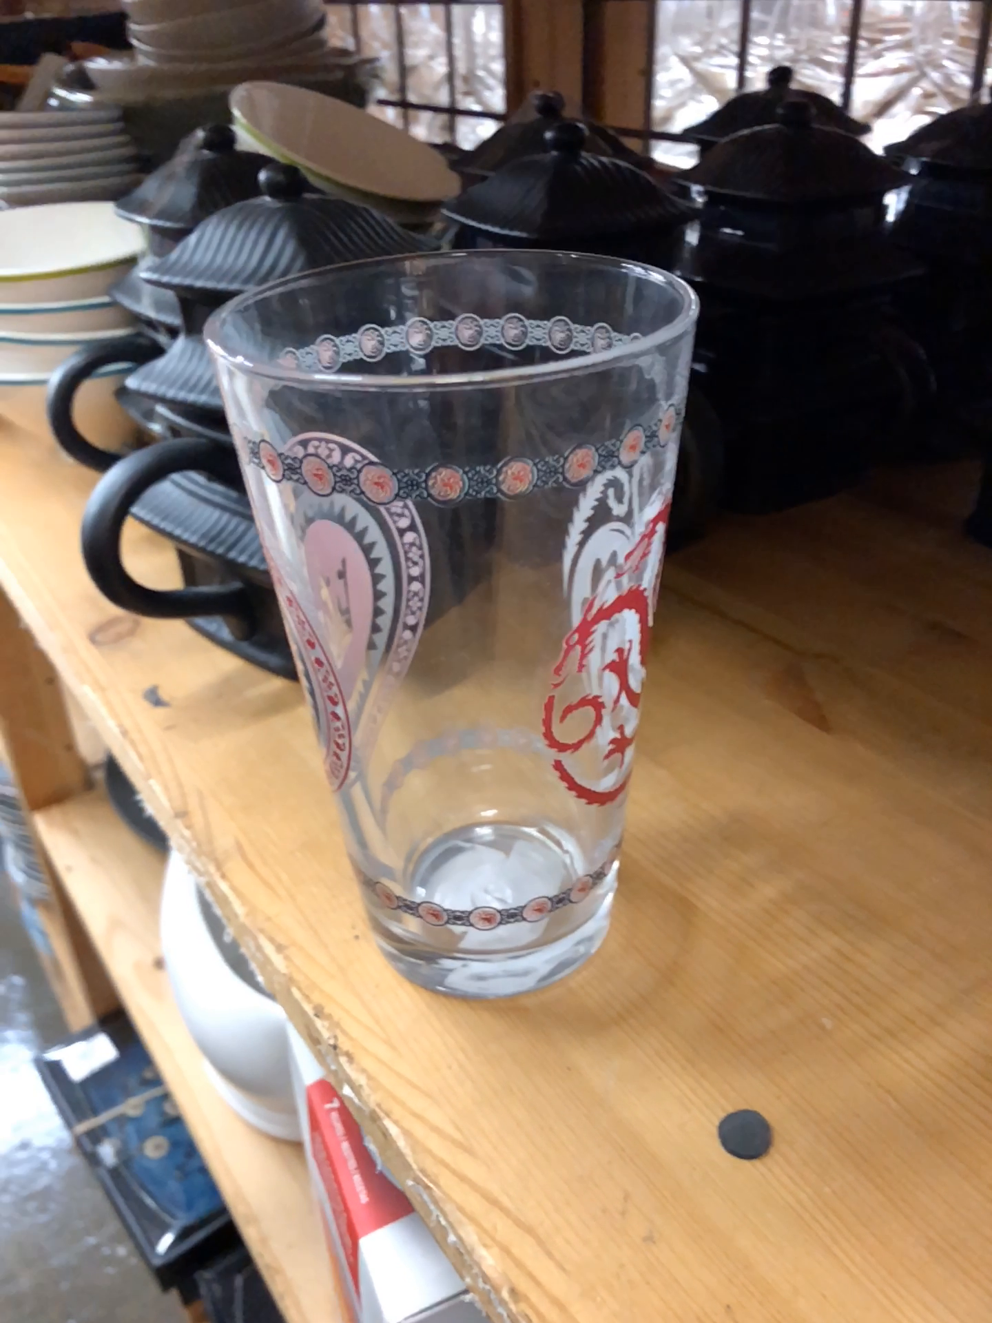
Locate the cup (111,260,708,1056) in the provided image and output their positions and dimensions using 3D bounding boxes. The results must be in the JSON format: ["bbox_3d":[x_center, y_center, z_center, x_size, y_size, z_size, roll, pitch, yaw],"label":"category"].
[{"bbox_3d":[-0.005,-0.004,0.227,0.084,0.132,0.085,-2,31,1],"label":"cup"}]
